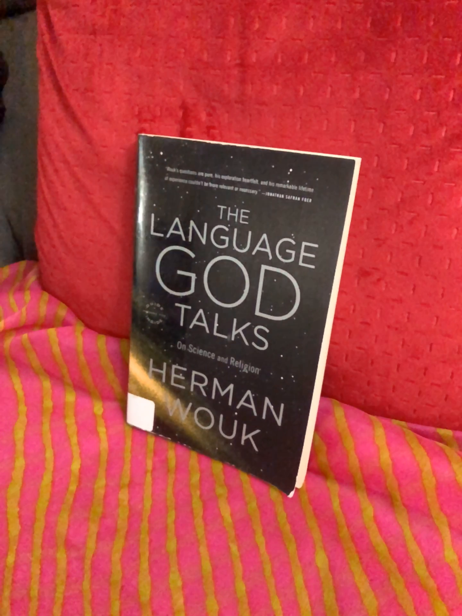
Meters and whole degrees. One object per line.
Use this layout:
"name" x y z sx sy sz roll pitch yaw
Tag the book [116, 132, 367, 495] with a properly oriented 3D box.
"book" -0.005 0.001 0.324 0.138 0.199 0.030 15 20 24
